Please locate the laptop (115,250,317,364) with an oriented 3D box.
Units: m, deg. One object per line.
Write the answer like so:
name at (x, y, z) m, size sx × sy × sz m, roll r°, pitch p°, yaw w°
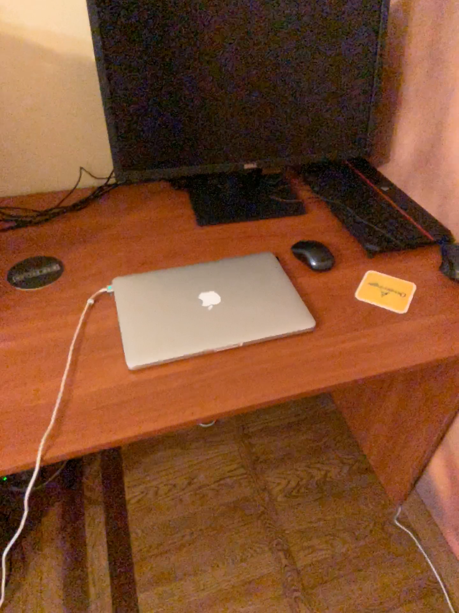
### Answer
laptop at (-0.031, -0.013, 0.796) m, size 0.306 × 0.001 × 0.214 m, roll -10°, pitch 44°, yaw -14°
